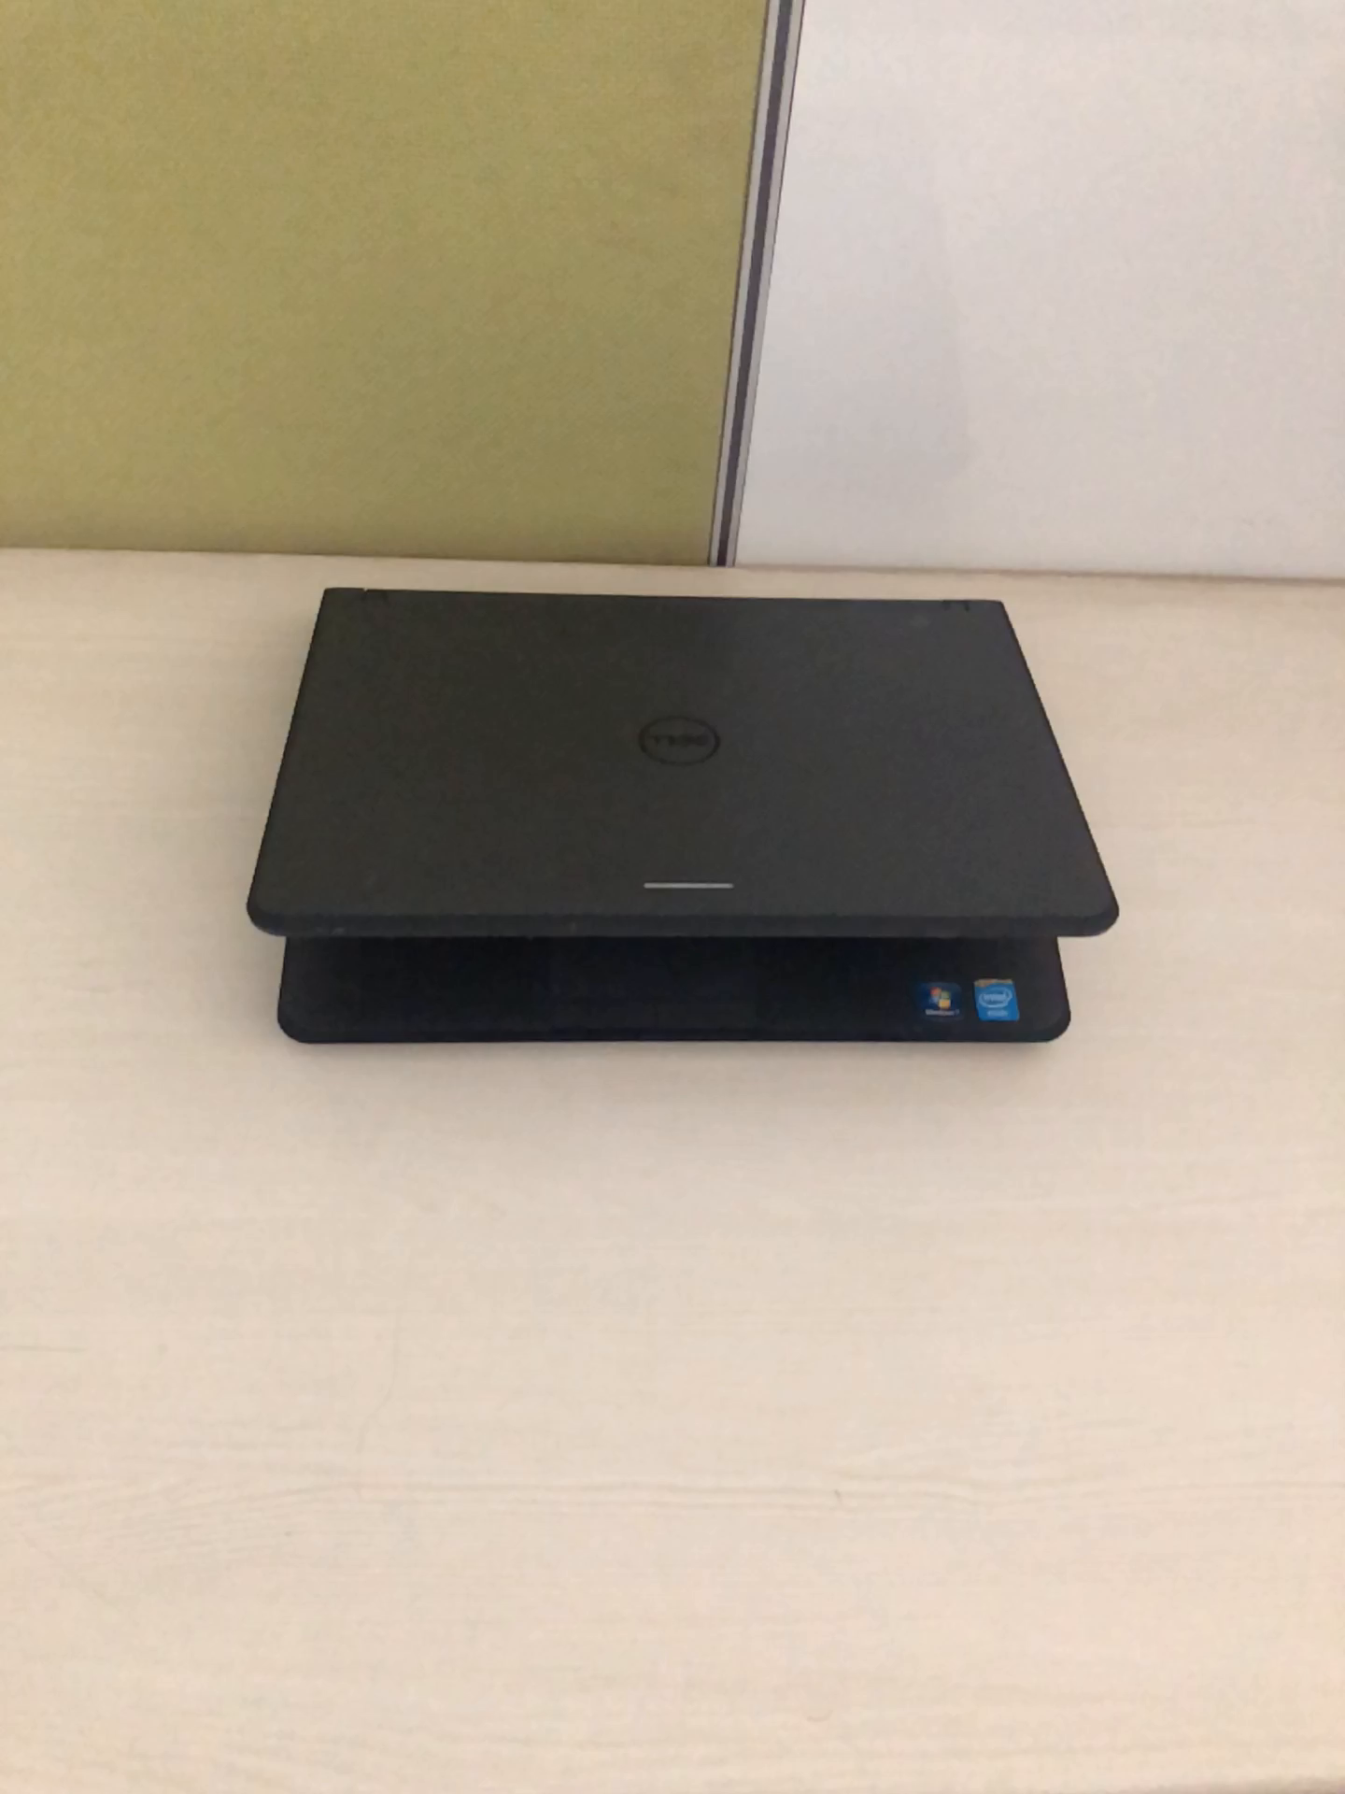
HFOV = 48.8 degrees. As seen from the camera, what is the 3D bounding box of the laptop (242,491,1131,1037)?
[{"bbox_3d":[0.003,-0.061,0.628,0.322,0.072,0.230,0,57,-3],"label":"laptop"}]
